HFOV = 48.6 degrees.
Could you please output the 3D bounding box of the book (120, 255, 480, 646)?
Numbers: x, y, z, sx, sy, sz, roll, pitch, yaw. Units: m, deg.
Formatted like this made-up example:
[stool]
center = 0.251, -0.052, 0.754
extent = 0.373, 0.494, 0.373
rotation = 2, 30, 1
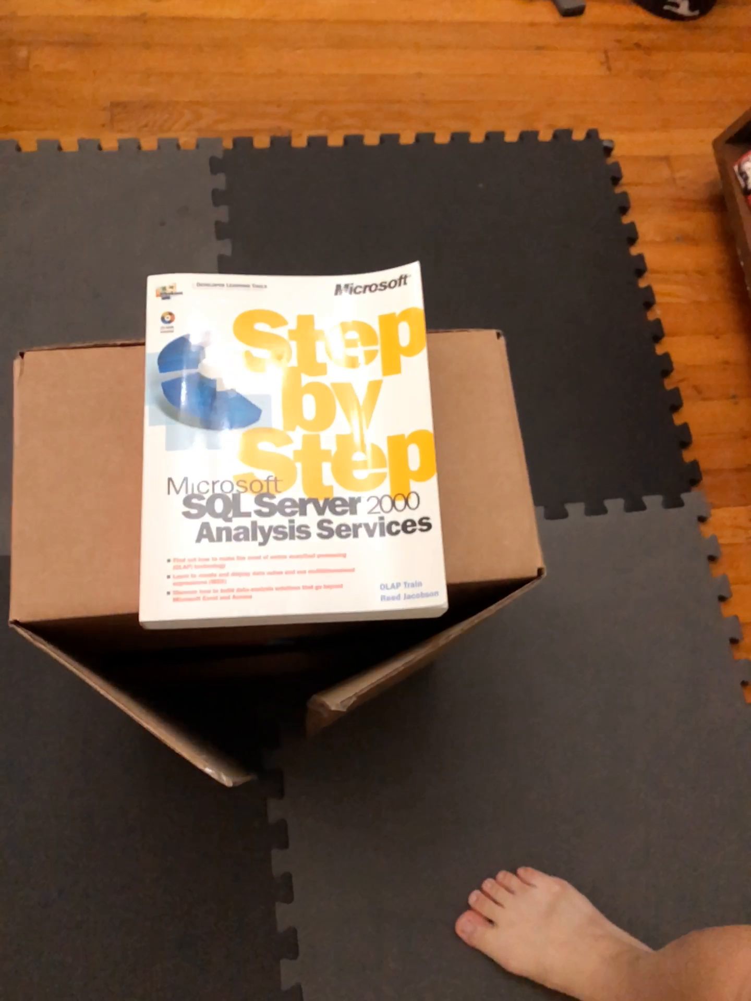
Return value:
[book]
center = -0.055, -0.040, 0.554
extent = 0.200, 0.050, 0.240
rotation = -6, 75, -12
